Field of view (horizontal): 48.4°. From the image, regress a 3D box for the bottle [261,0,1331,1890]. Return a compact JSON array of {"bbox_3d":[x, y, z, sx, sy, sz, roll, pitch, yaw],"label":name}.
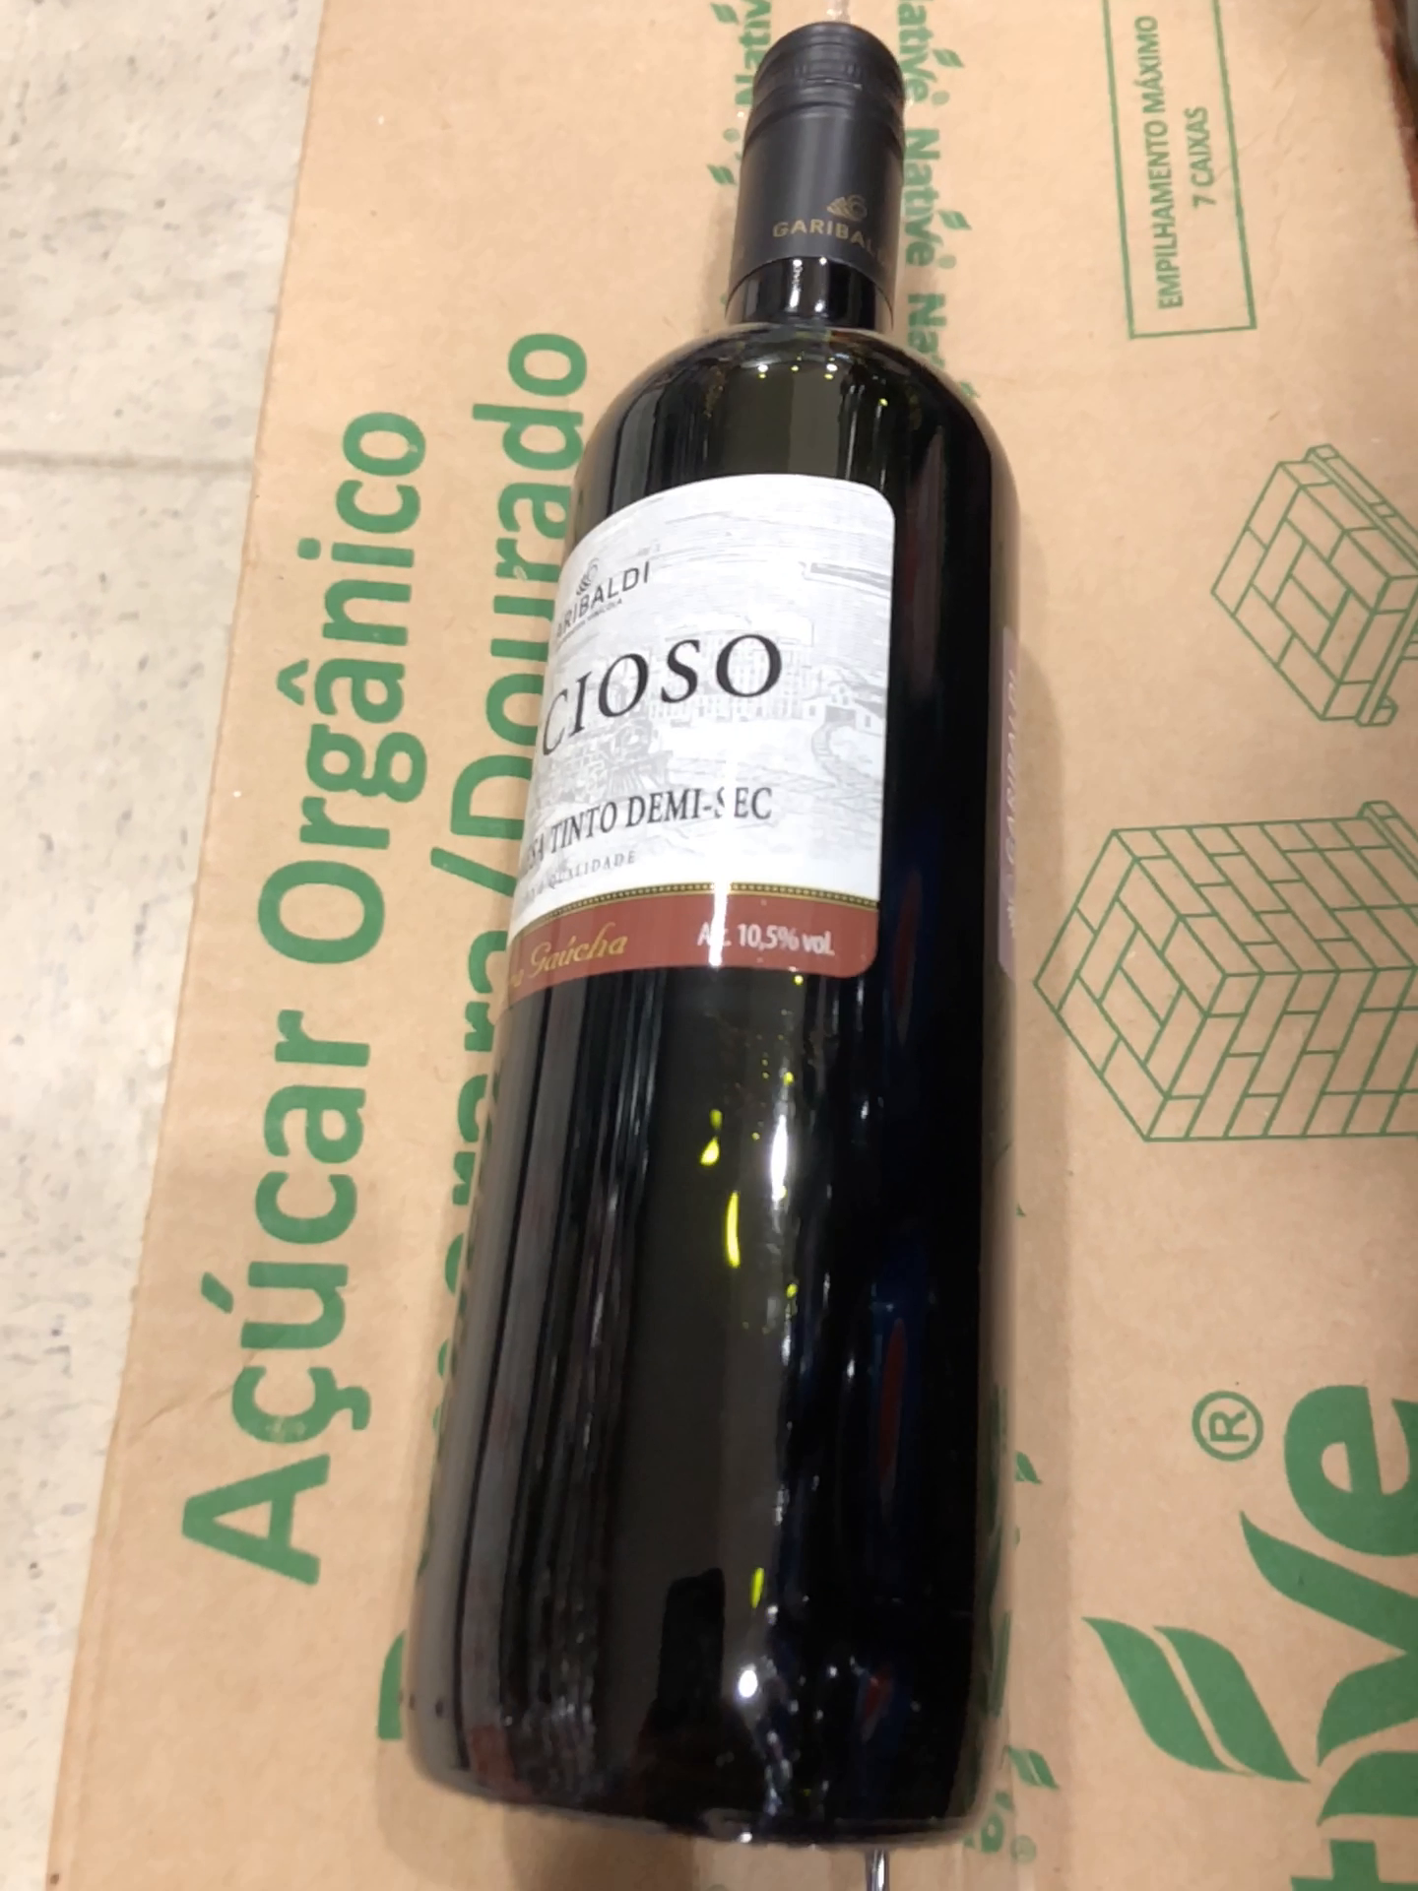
[{"bbox_3d":[0.020,-0.057,0.238,0.090,0.080,0.341,6,66,-1],"label":"bottle"}]
